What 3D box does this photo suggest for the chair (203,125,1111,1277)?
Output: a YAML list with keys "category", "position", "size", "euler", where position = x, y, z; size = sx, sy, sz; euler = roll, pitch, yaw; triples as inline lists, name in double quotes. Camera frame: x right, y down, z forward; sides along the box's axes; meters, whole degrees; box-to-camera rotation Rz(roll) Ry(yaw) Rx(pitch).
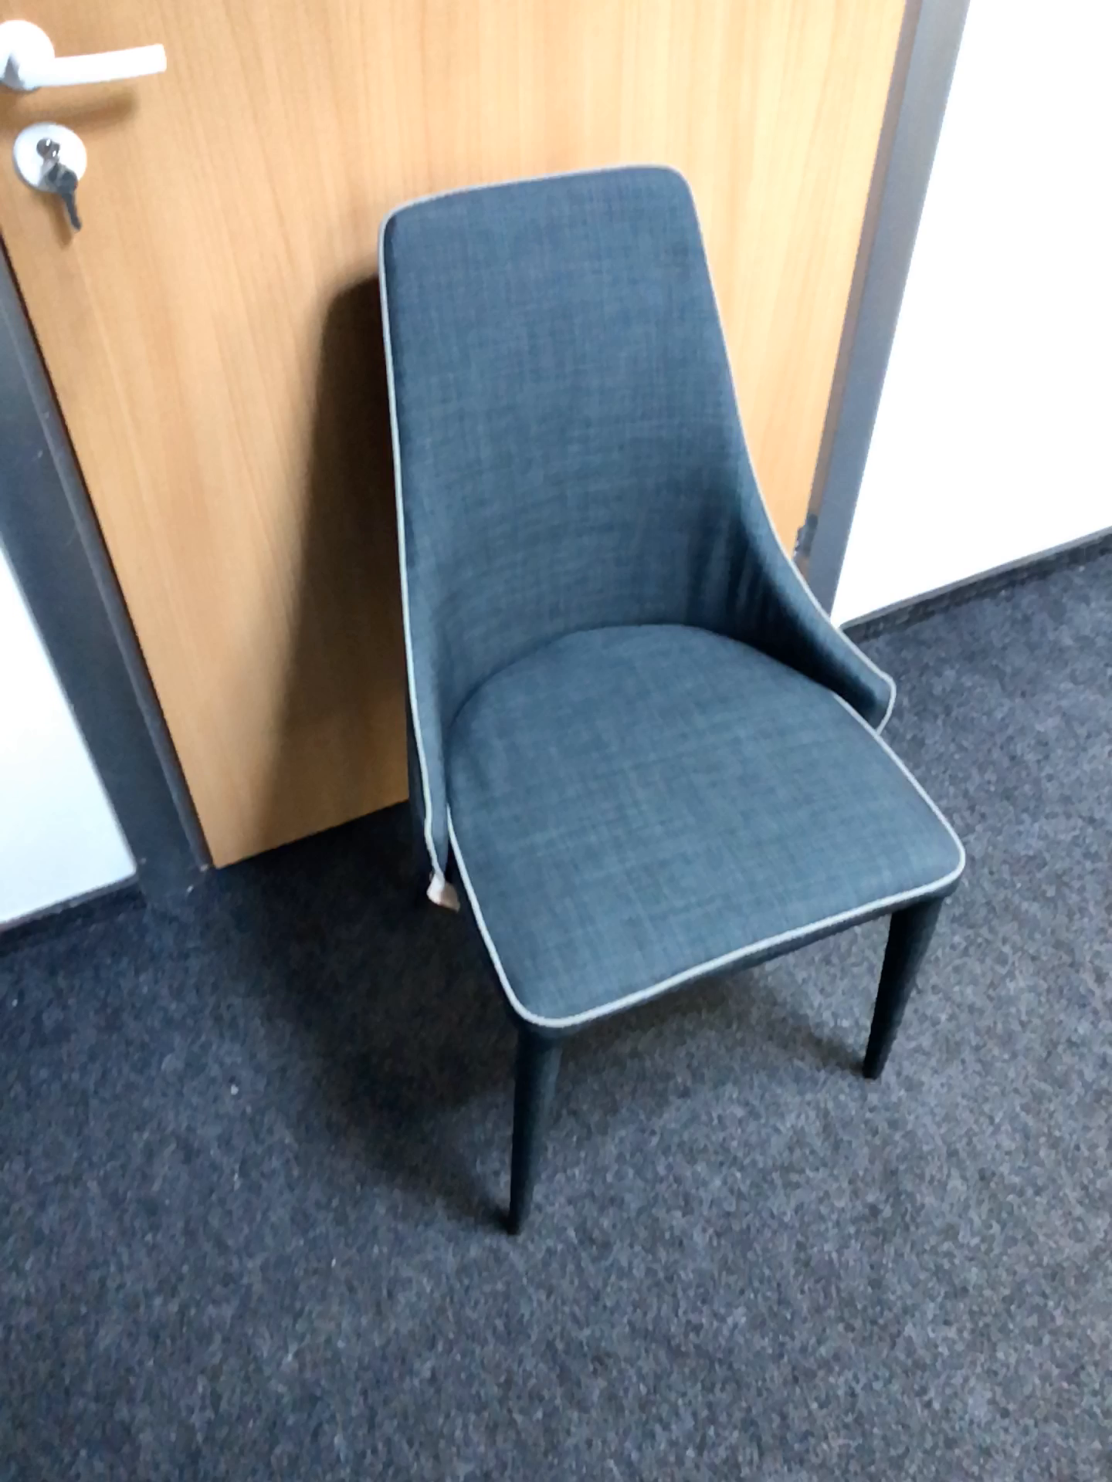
- category: "chair"
  position: [0.061, -0.021, 1.227]
  size: [0.521, 0.845, 0.643]
  euler: [-18, 50, -16]
